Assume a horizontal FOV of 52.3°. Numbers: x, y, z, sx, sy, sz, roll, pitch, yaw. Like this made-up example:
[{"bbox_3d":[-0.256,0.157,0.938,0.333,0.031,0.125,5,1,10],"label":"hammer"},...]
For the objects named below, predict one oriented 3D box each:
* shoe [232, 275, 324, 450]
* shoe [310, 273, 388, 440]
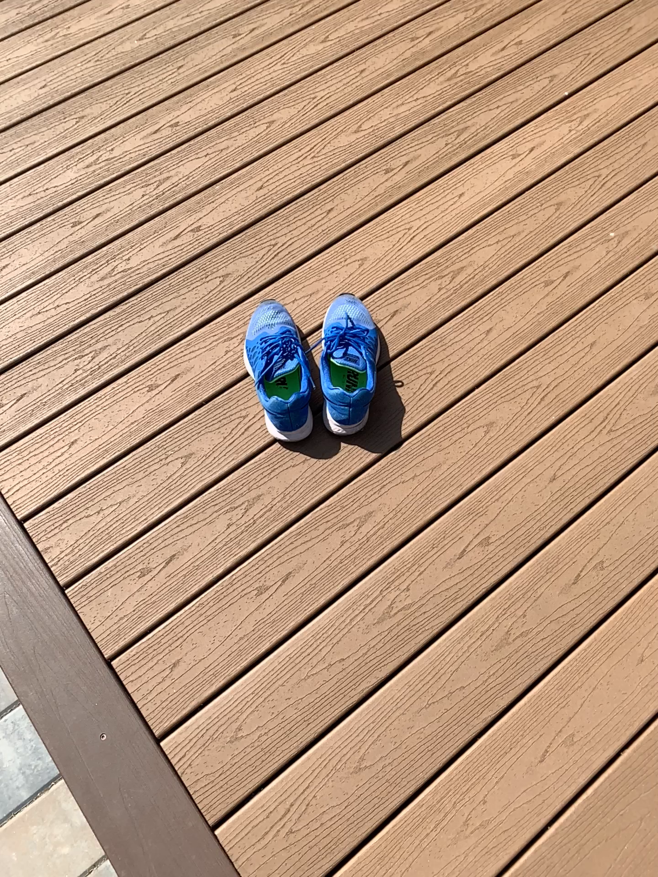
[{"bbox_3d":[-0.096,-0.143,1.240,0.120,0.103,0.298,-10,65,-3],"label":"shoe"},{"bbox_3d":[0.040,-0.154,1.248,0.120,0.106,0.290,4,65,3],"label":"shoe"}]
